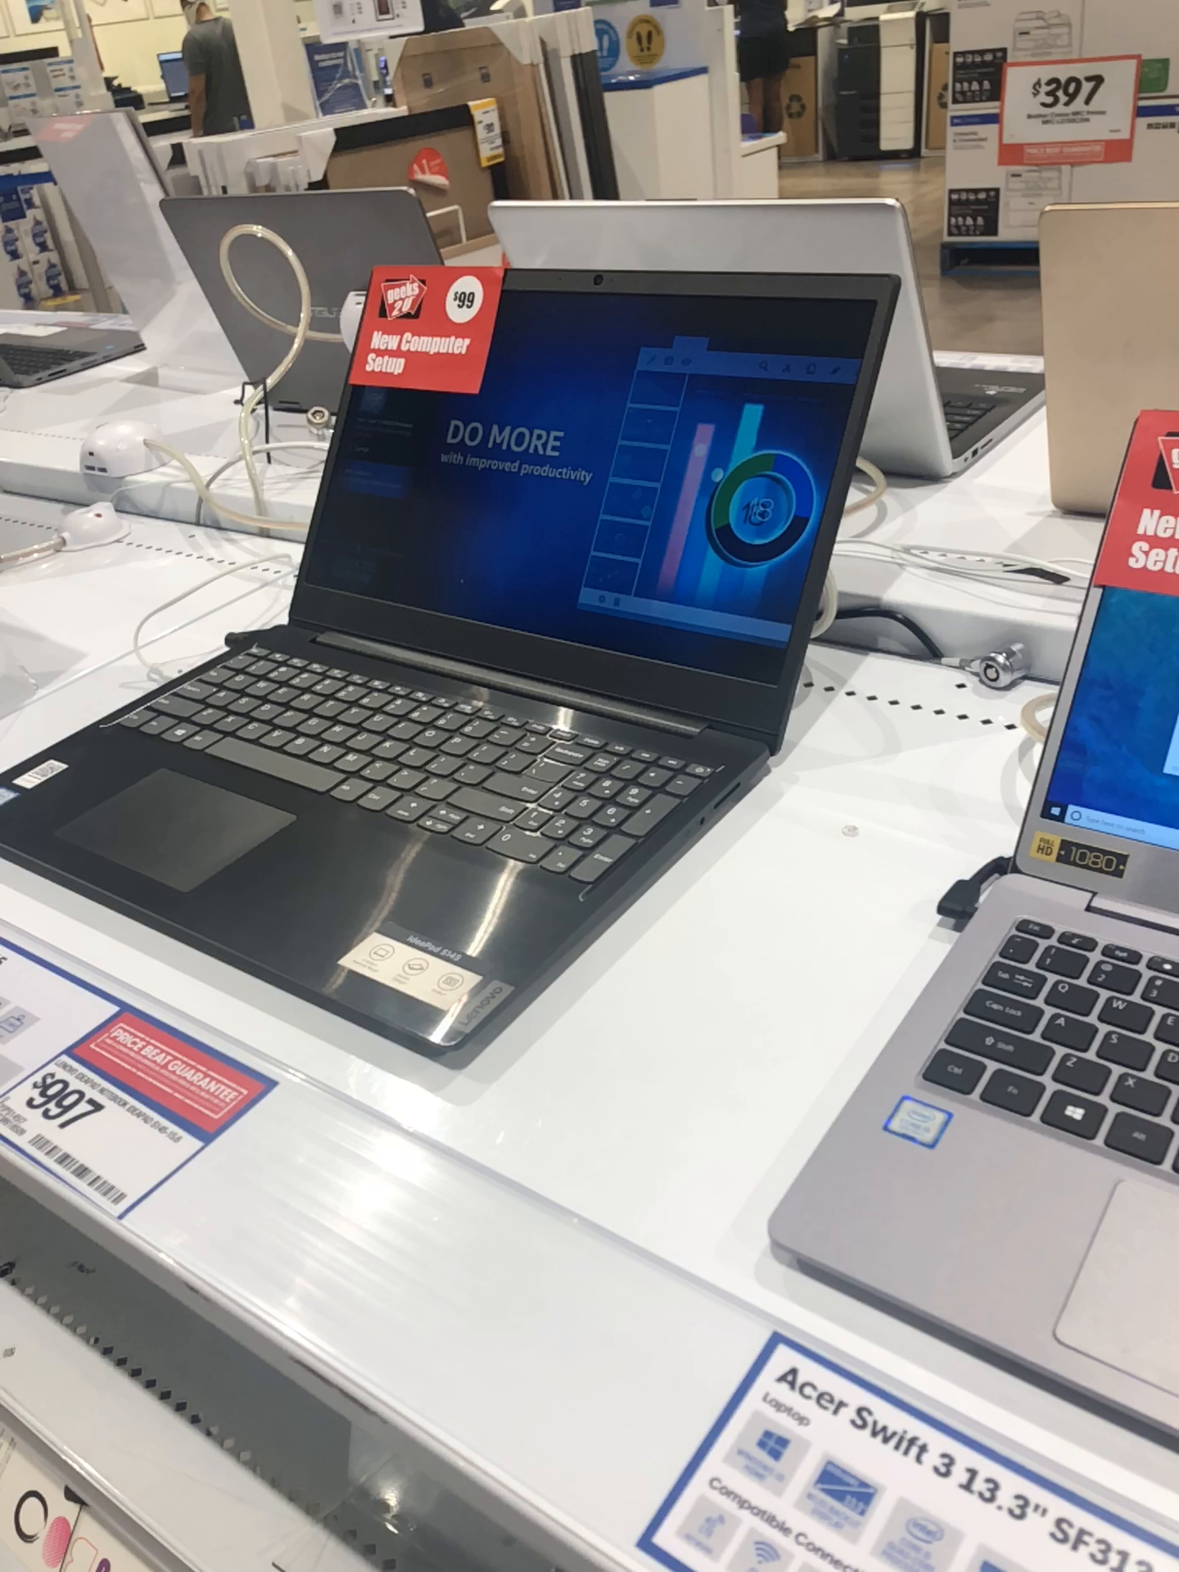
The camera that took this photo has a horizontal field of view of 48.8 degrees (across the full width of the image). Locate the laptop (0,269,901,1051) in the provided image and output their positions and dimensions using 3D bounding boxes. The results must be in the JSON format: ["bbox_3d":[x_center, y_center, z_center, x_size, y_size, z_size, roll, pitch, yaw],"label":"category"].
[{"bbox_3d":[-0.090,-0.114,0.650,0.353,0.192,0.374,16,38,33],"label":"laptop"}]
